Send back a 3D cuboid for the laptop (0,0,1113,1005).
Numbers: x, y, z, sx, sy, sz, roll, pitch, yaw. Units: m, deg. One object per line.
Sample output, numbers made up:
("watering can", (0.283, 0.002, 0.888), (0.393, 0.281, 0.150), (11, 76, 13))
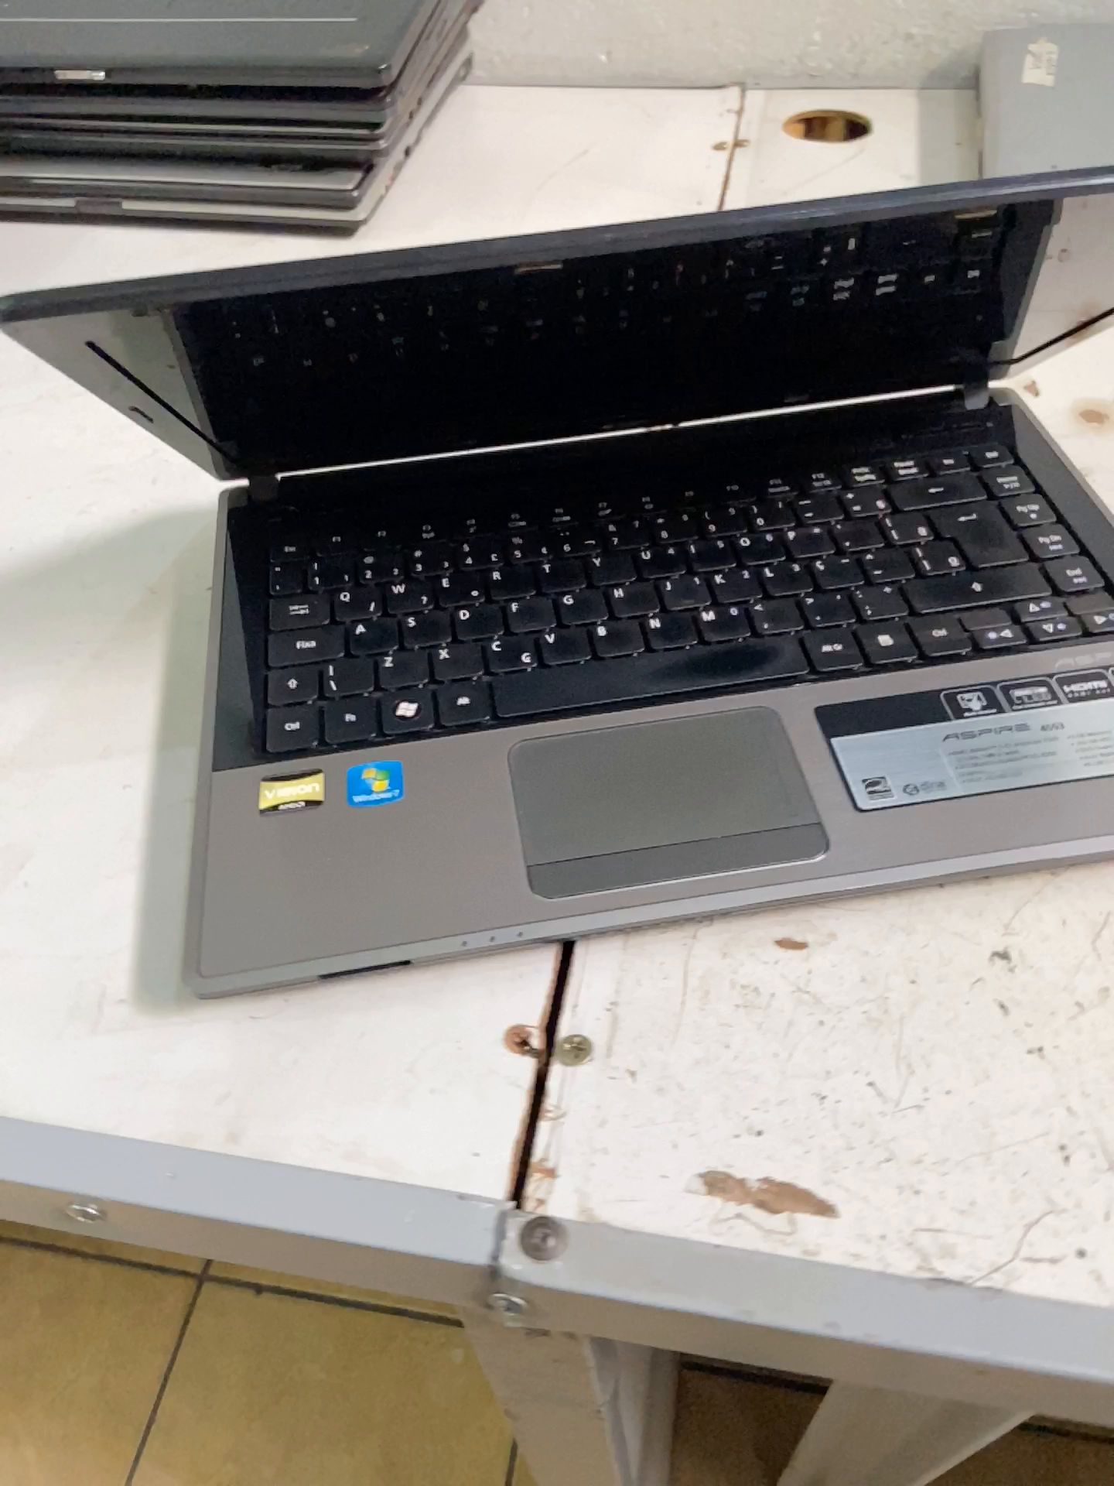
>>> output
("laptop", (0.041, -0.090, 0.348), (0.334, 0.157, 0.227), (-9, 48, -5))
